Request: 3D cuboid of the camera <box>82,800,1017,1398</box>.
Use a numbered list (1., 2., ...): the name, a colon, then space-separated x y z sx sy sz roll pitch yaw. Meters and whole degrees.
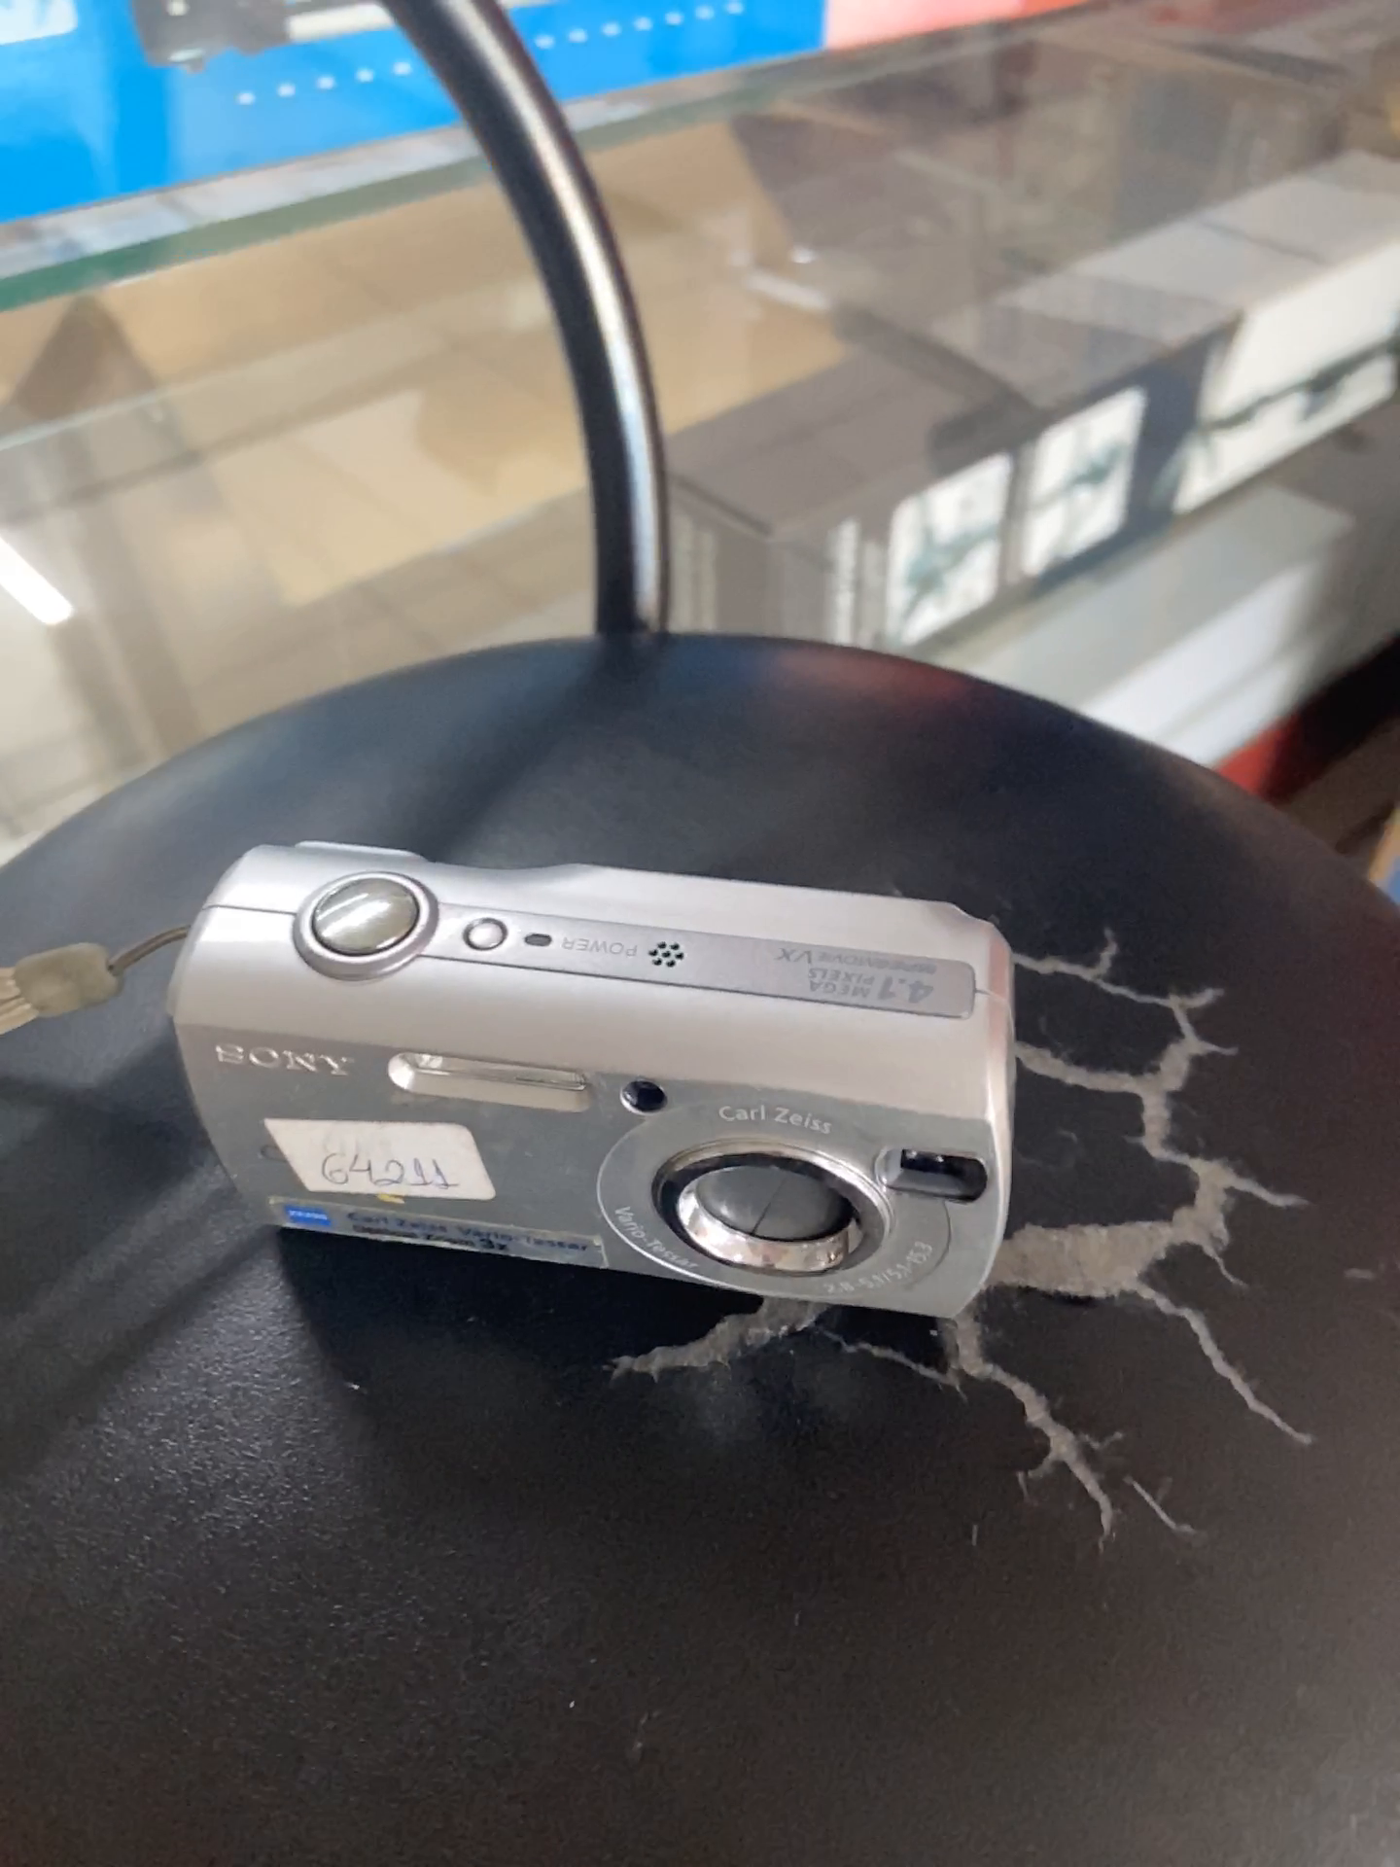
1. camera: -0.015 0.020 0.186 0.100 0.050 0.040 7 45 7
